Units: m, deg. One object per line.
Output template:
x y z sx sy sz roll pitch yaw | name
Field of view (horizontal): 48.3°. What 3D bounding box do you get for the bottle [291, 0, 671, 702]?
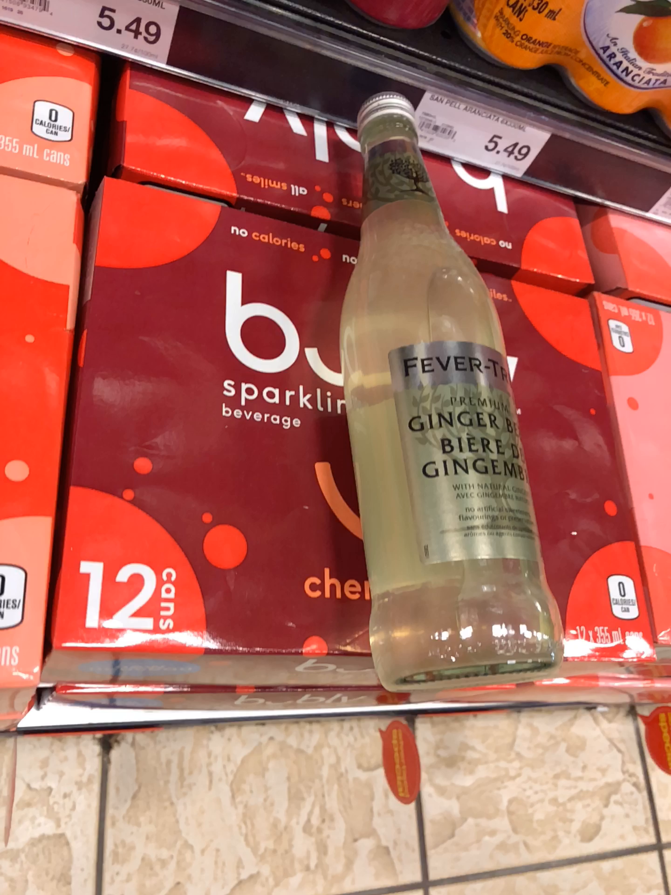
0.043 -0.046 0.298 0.080 0.080 0.270 5 66 -24 | bottle
